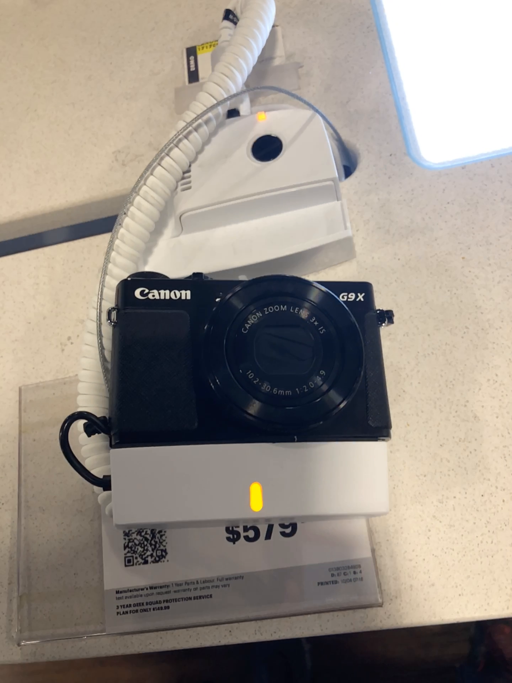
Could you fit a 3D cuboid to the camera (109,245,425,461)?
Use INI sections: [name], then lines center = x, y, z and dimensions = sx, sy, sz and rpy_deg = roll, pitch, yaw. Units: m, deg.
[camera]
center = 0.002, 0.003, 0.199
dimensions = 0.100, 0.020, 0.070
rpy_deg = 0, 70, -8
